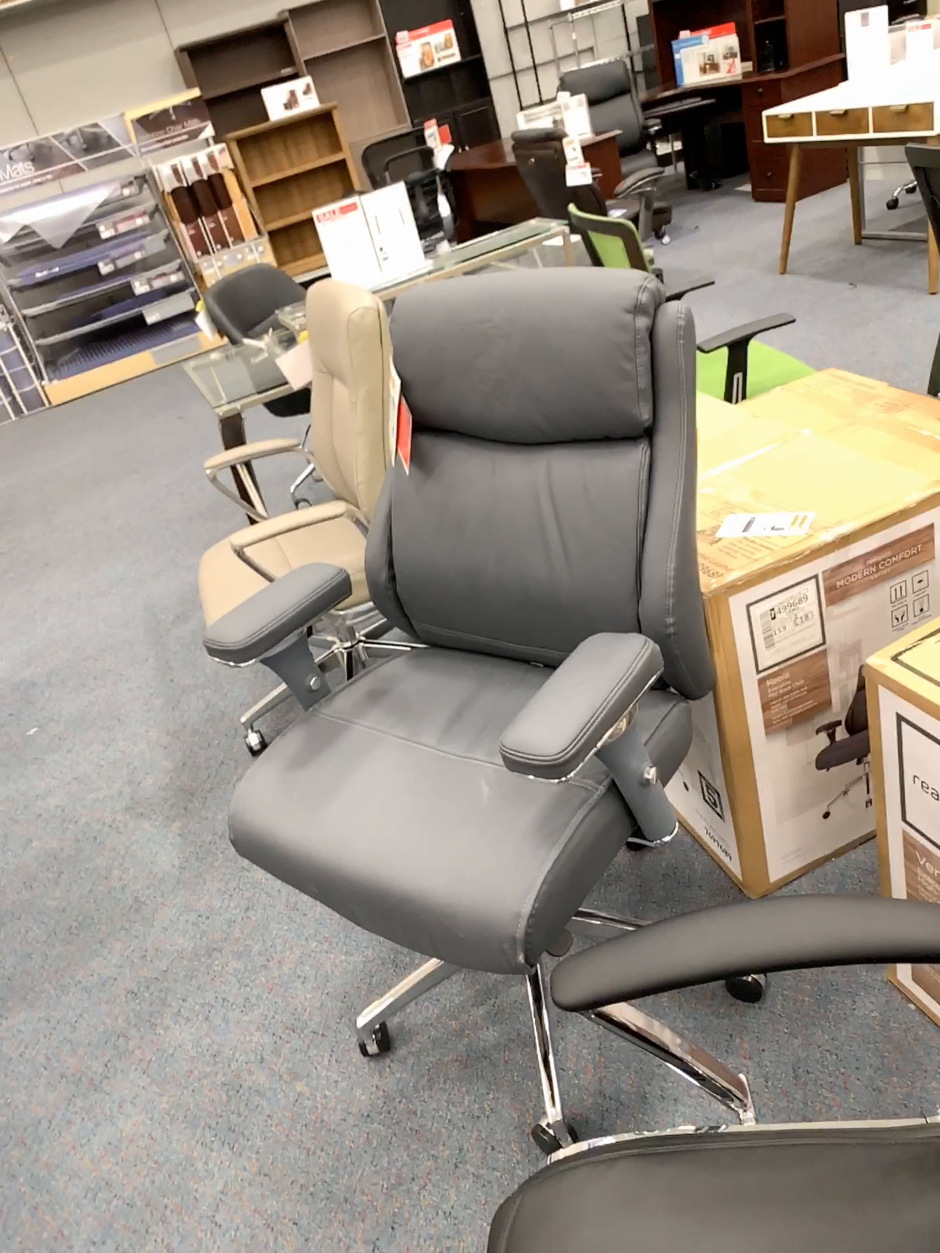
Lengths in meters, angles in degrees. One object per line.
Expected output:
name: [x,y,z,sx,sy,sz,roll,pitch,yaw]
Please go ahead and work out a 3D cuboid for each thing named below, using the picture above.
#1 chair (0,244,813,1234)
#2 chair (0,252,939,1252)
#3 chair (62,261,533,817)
chair: [0.047,0.121,1.404,0.696,1.075,0.696,10,39,32]
chair: [0.316,0.498,0.612,0.784,1.095,0.768,-12,30,9]
chair: [-0.430,-0.263,2.376,0.714,0.976,0.789,-23,30,-11]
